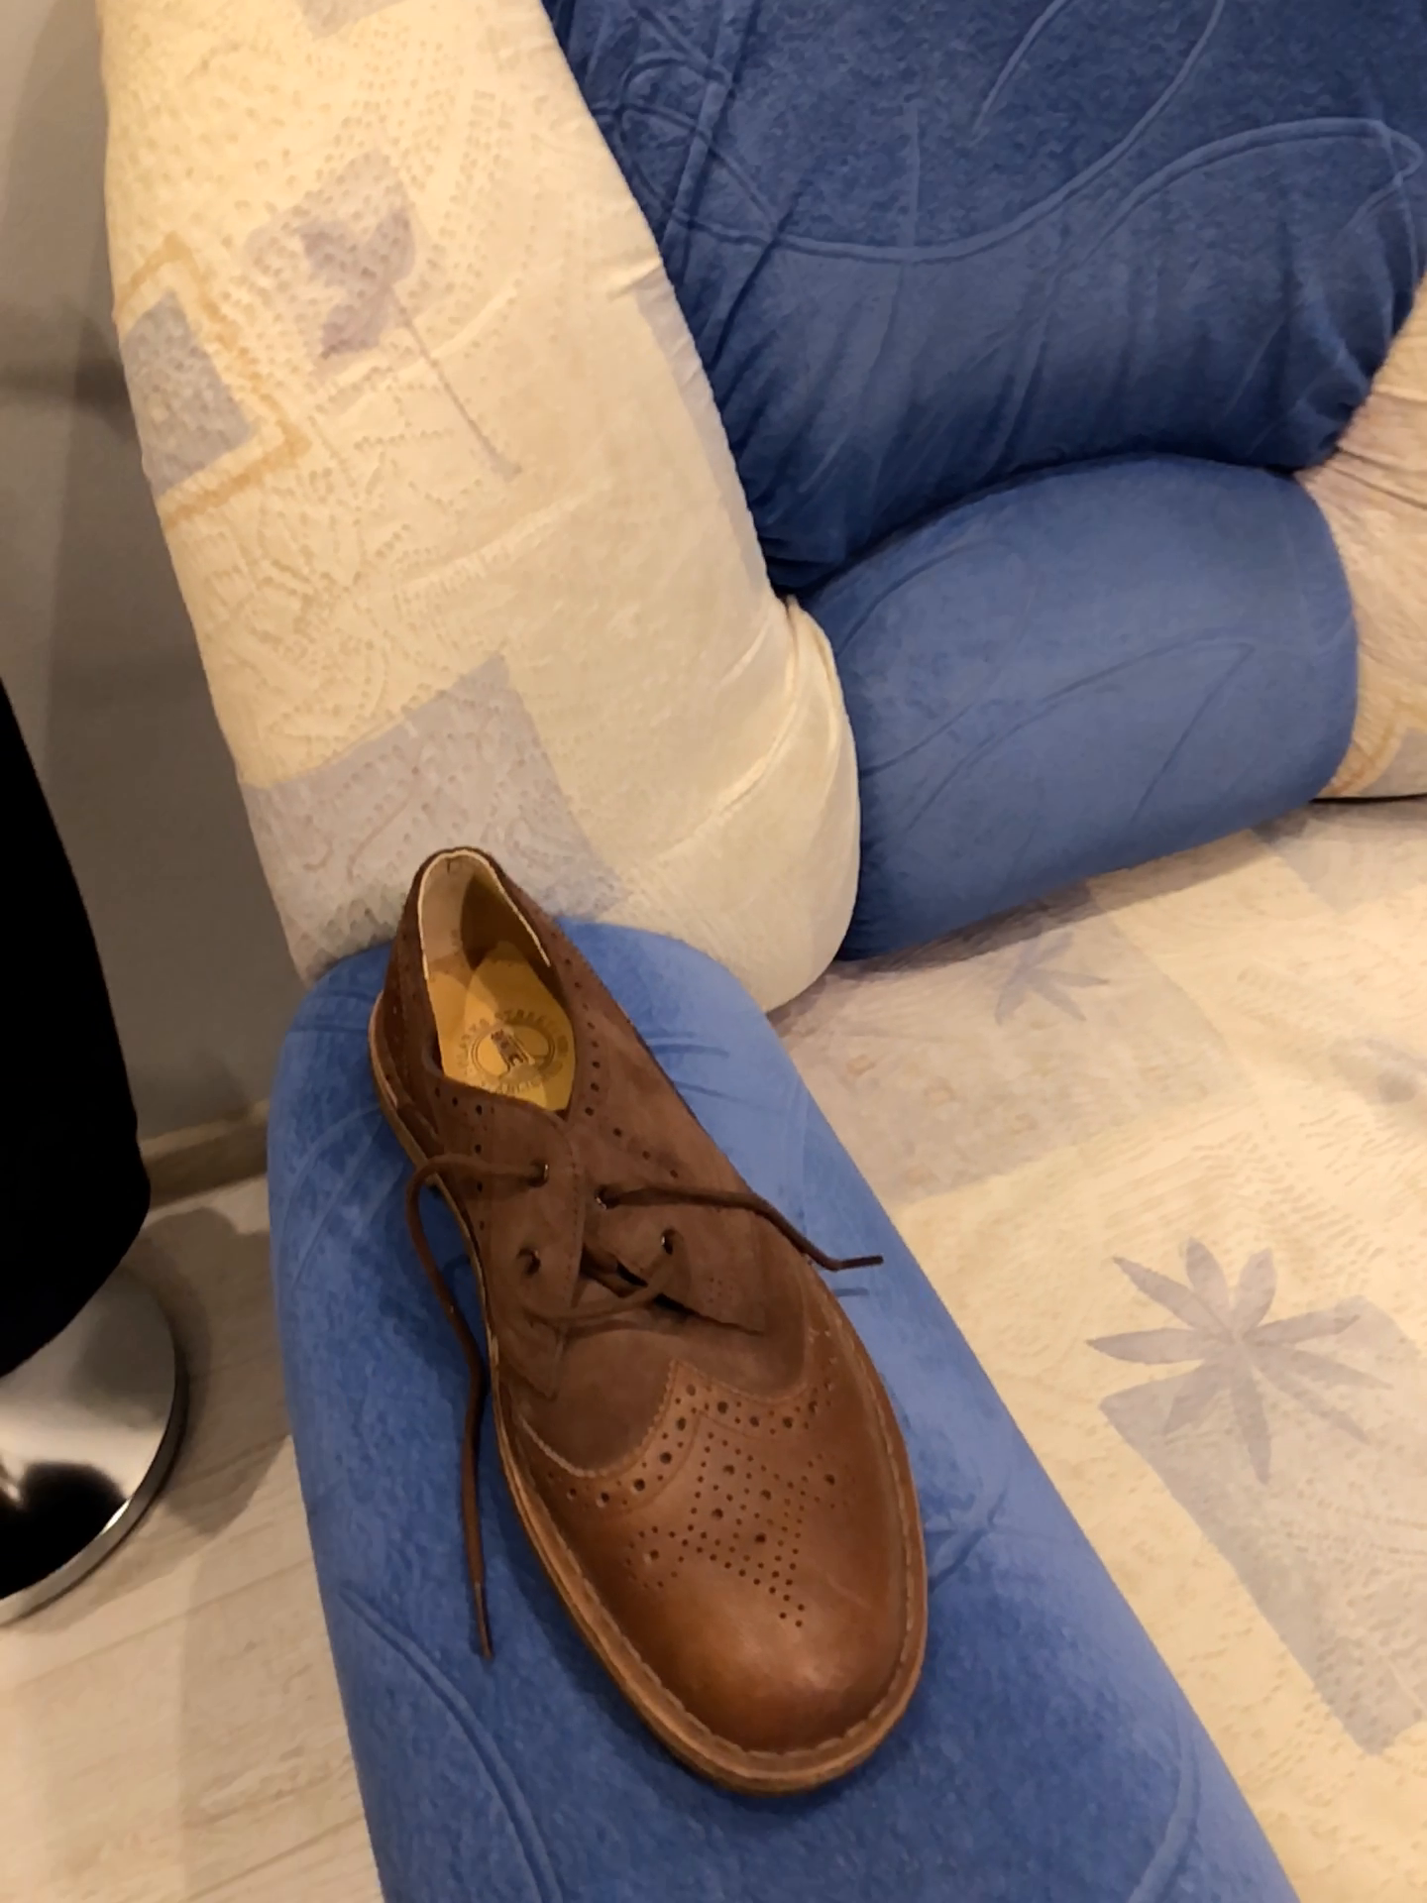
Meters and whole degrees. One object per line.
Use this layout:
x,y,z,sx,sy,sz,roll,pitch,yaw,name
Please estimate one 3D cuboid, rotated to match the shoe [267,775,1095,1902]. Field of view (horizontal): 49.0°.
-0.030,0.090,0.474,0.113,0.089,0.314,-19,50,-18,shoe
